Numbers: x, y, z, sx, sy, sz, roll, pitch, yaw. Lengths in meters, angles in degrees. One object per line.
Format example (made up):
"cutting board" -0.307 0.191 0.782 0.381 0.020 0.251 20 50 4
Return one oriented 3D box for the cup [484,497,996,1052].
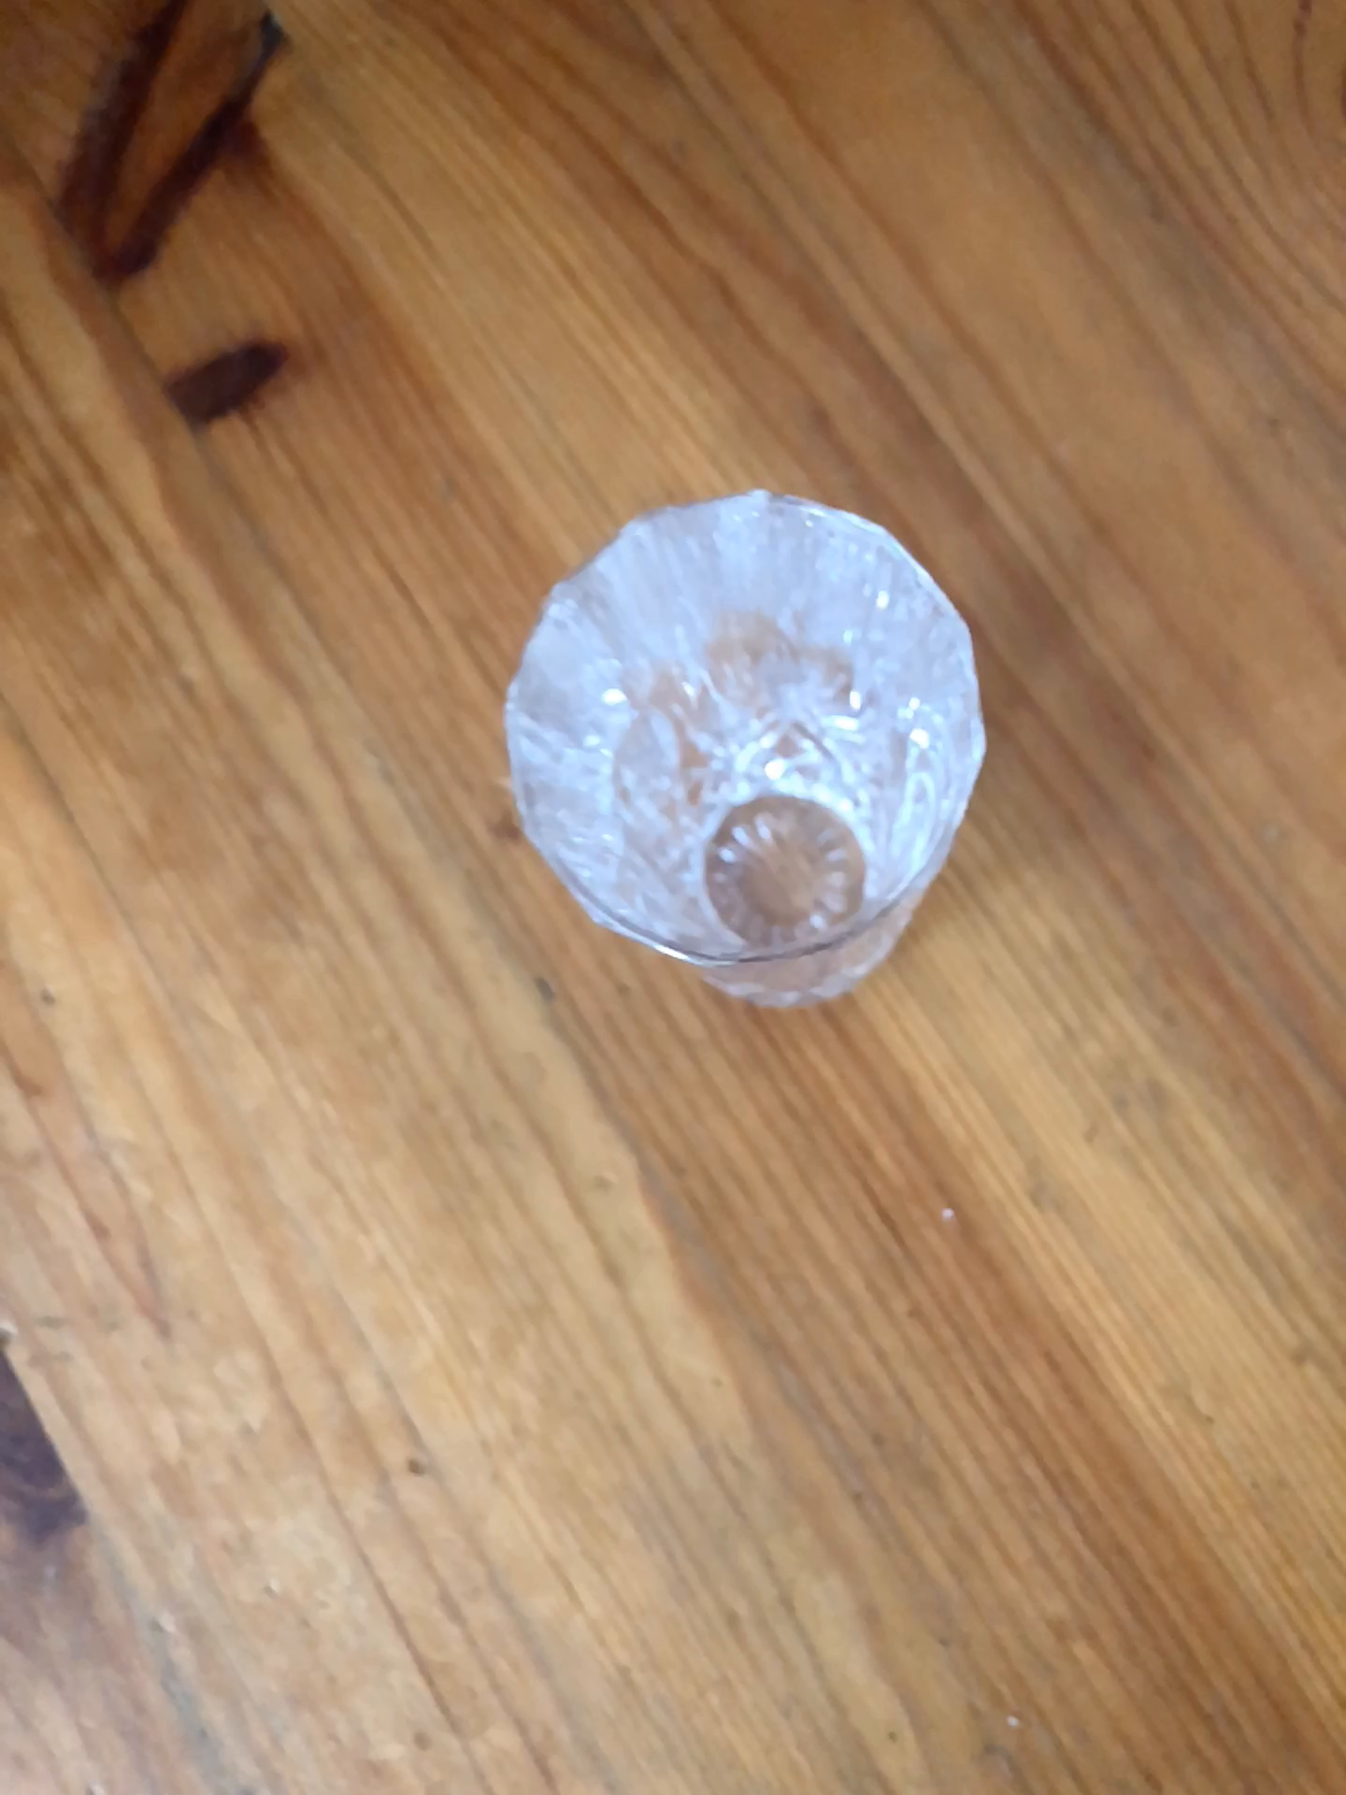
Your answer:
"cup" 0.015 -0.009 0.254 0.059 0.145 0.064 -1 83 5
